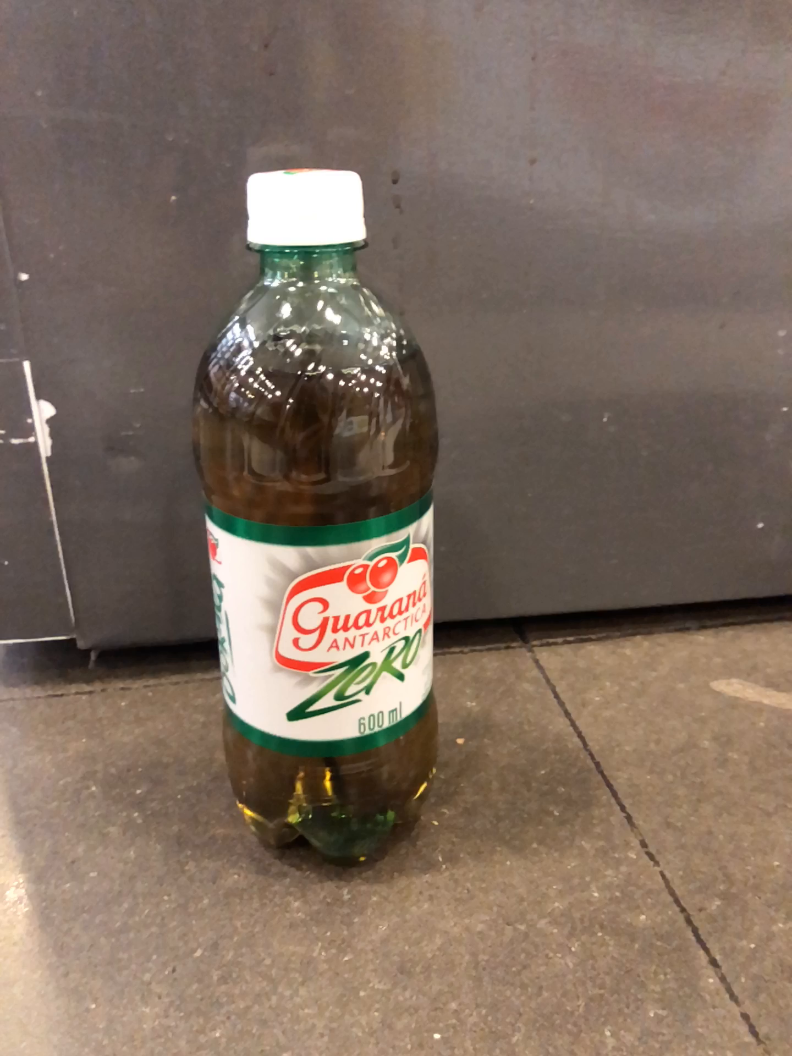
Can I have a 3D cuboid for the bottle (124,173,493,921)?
[{"bbox_3d":[-0.026,0.005,0.272,0.080,0.209,0.070,-9,25,-20],"label":"bottle"}]
